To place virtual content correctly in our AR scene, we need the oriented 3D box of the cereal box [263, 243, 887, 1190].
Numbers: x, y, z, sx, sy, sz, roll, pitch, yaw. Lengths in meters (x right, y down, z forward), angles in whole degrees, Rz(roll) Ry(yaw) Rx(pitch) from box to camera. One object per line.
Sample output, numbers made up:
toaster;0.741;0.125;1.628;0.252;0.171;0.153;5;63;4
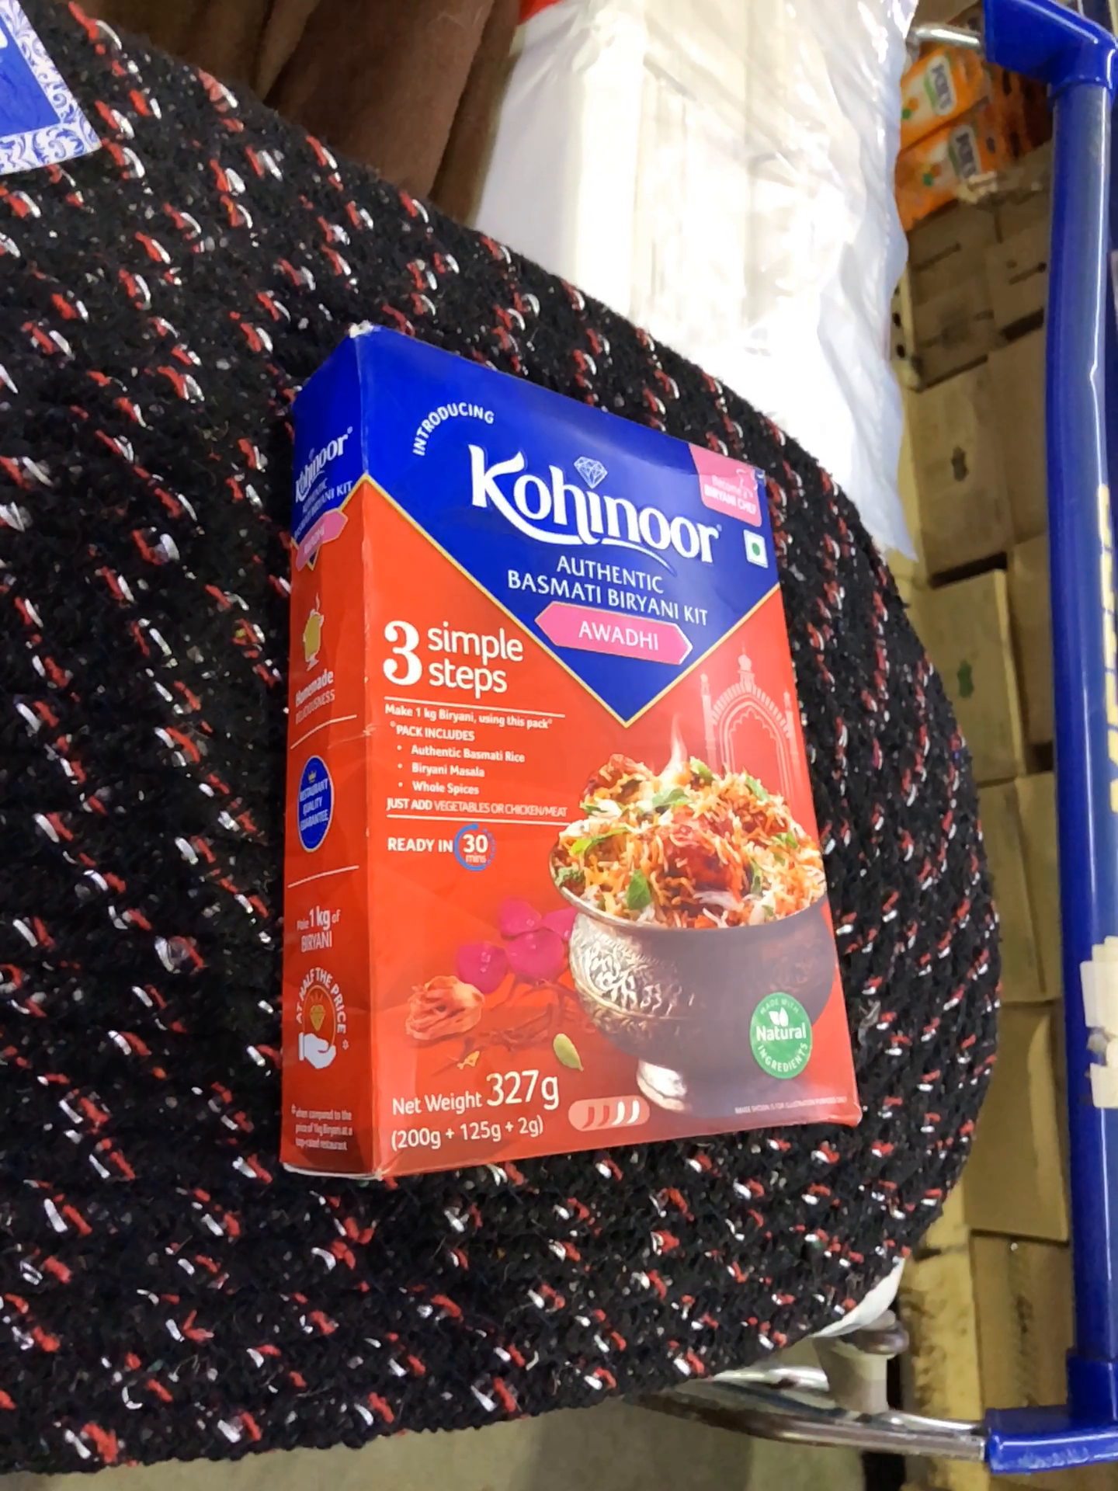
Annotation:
cereal box;0.006;-0.003;0.288;0.141;0.040;0.180;6;75;-37
